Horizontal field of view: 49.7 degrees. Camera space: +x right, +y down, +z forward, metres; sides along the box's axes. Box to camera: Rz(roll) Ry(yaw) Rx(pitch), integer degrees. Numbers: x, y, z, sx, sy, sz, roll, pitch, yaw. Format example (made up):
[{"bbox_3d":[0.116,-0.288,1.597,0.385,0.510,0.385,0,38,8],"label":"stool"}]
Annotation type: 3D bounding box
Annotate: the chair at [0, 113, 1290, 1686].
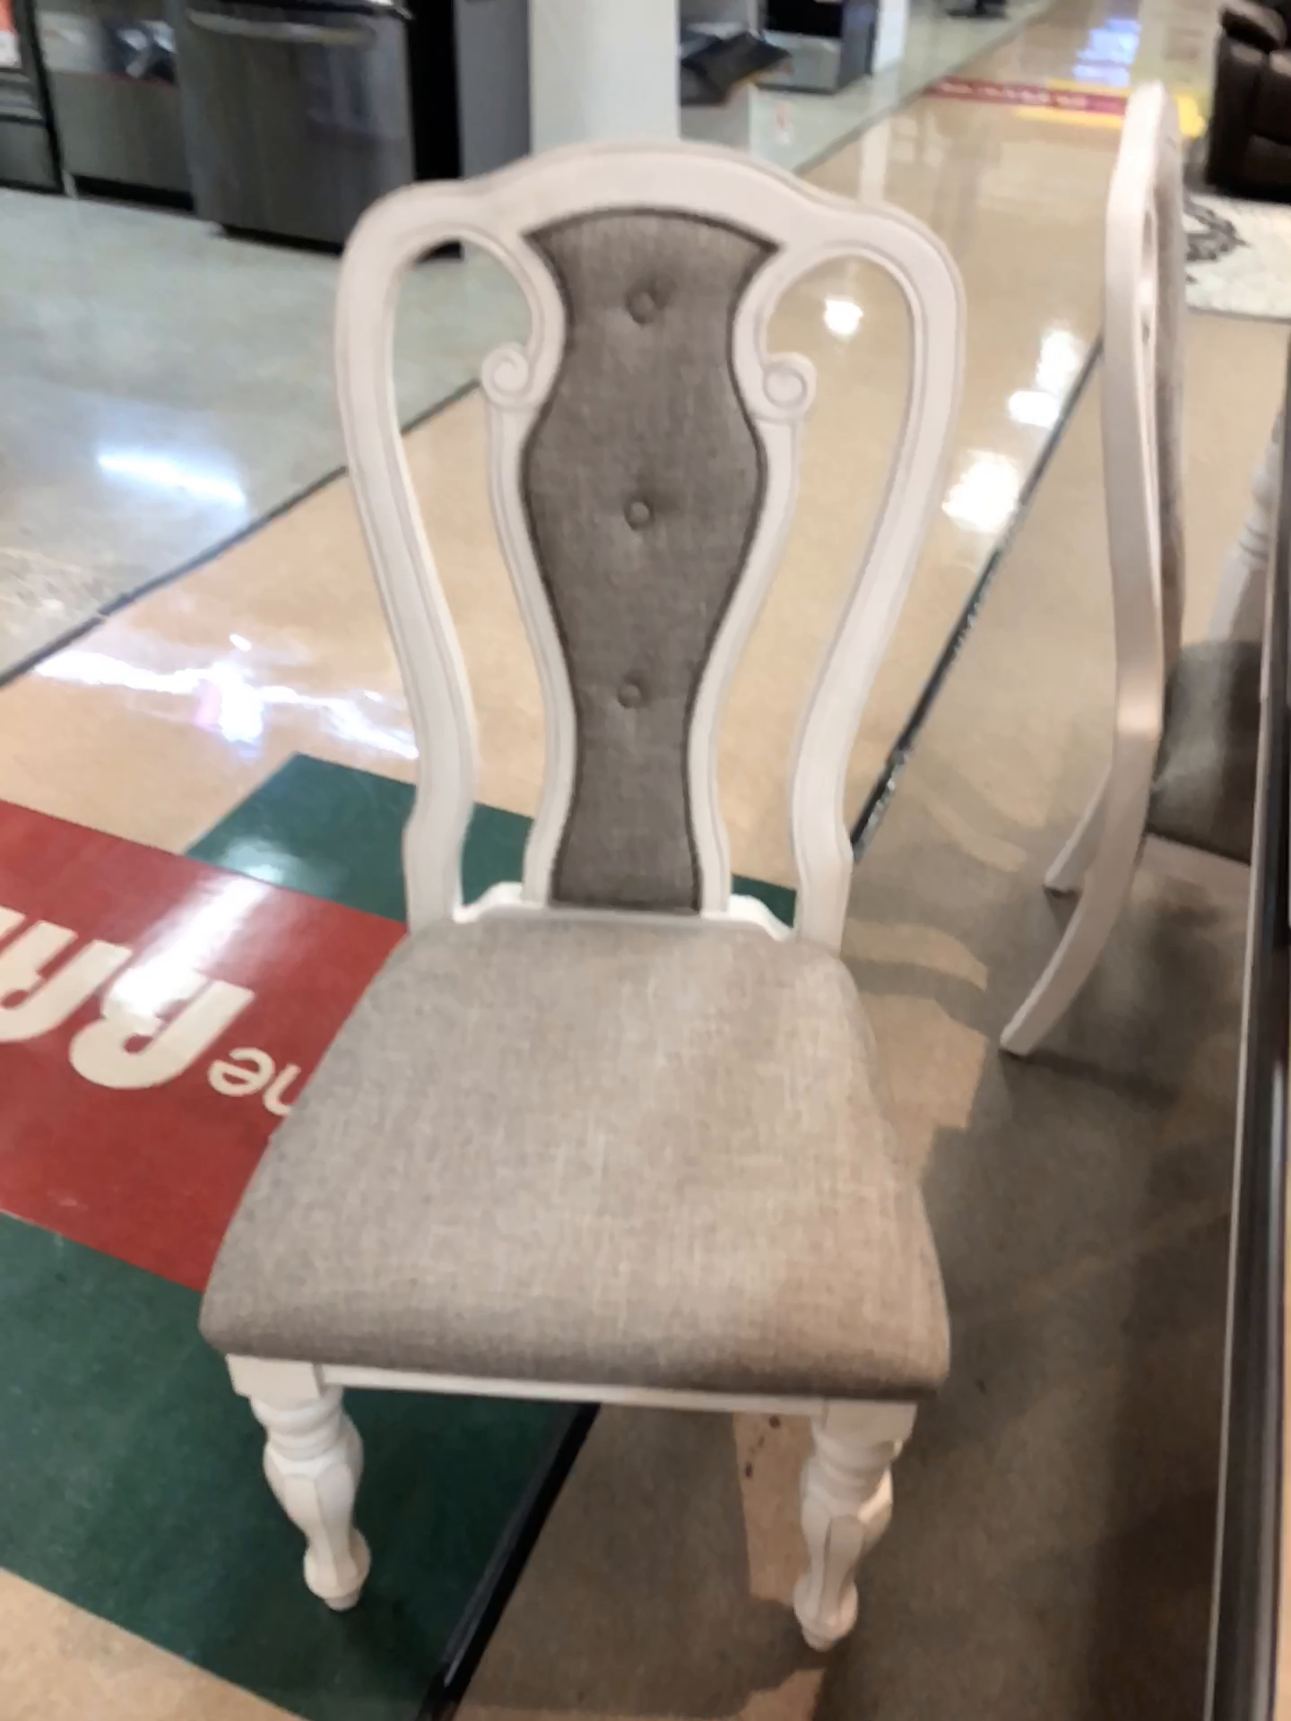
[{"bbox_3d":[-0.010,0.046,1.111,0.550,1.013,0.675,4,37,2],"label":"chair"}]
